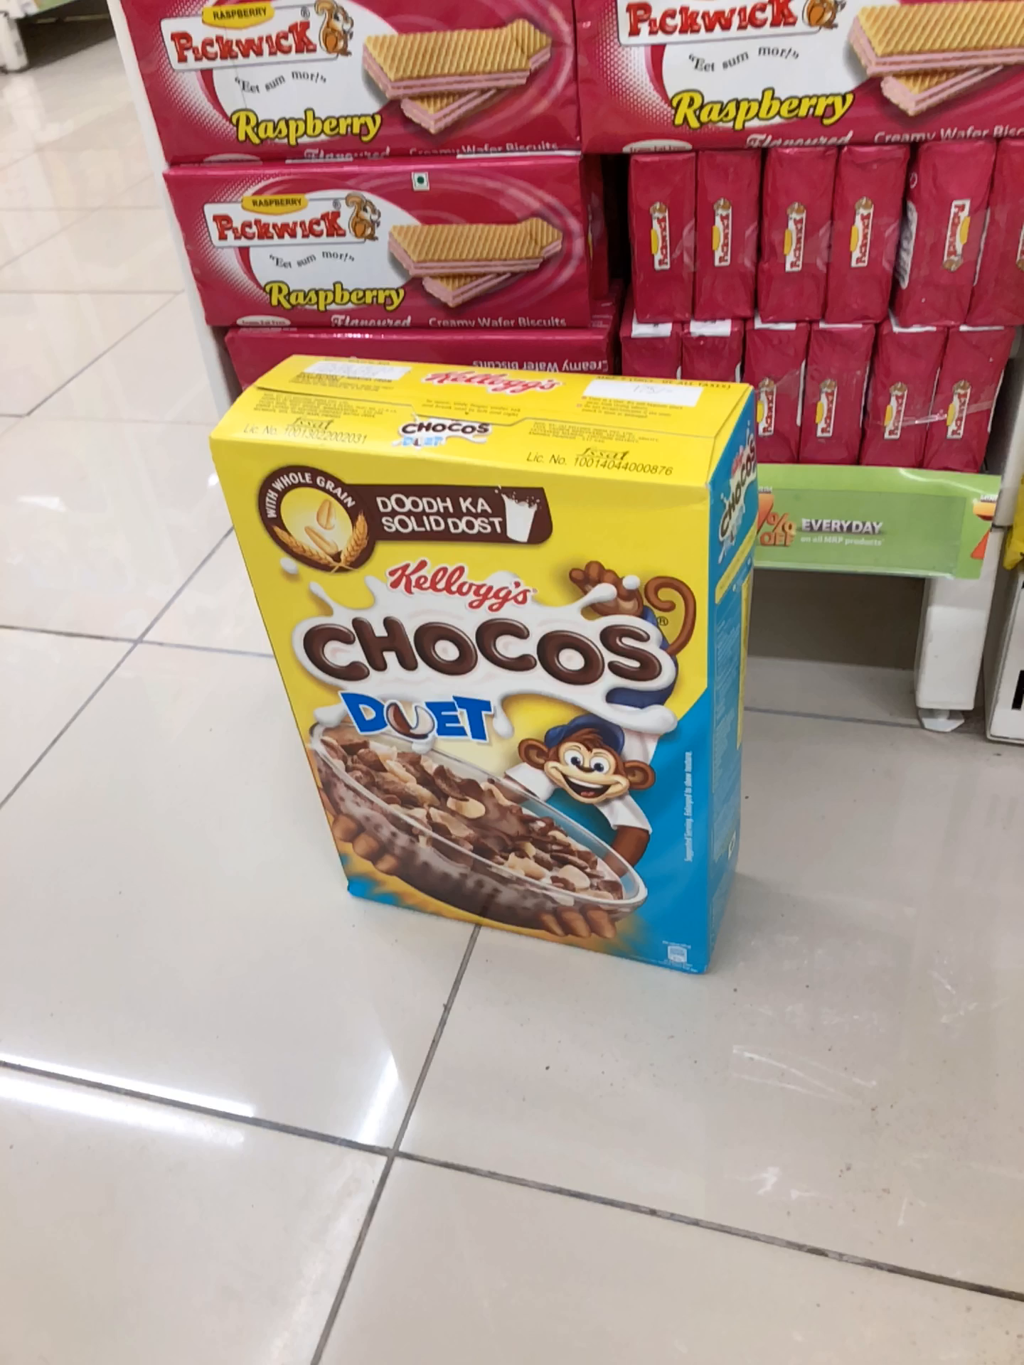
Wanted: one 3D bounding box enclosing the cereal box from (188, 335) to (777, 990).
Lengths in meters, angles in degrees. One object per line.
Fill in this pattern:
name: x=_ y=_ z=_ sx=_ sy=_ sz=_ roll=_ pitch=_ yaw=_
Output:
cereal box: x=0.002 y=-0.001 z=0.467 sx=0.190 sy=0.258 sz=0.070 roll=8 pitch=42 yaw=19
